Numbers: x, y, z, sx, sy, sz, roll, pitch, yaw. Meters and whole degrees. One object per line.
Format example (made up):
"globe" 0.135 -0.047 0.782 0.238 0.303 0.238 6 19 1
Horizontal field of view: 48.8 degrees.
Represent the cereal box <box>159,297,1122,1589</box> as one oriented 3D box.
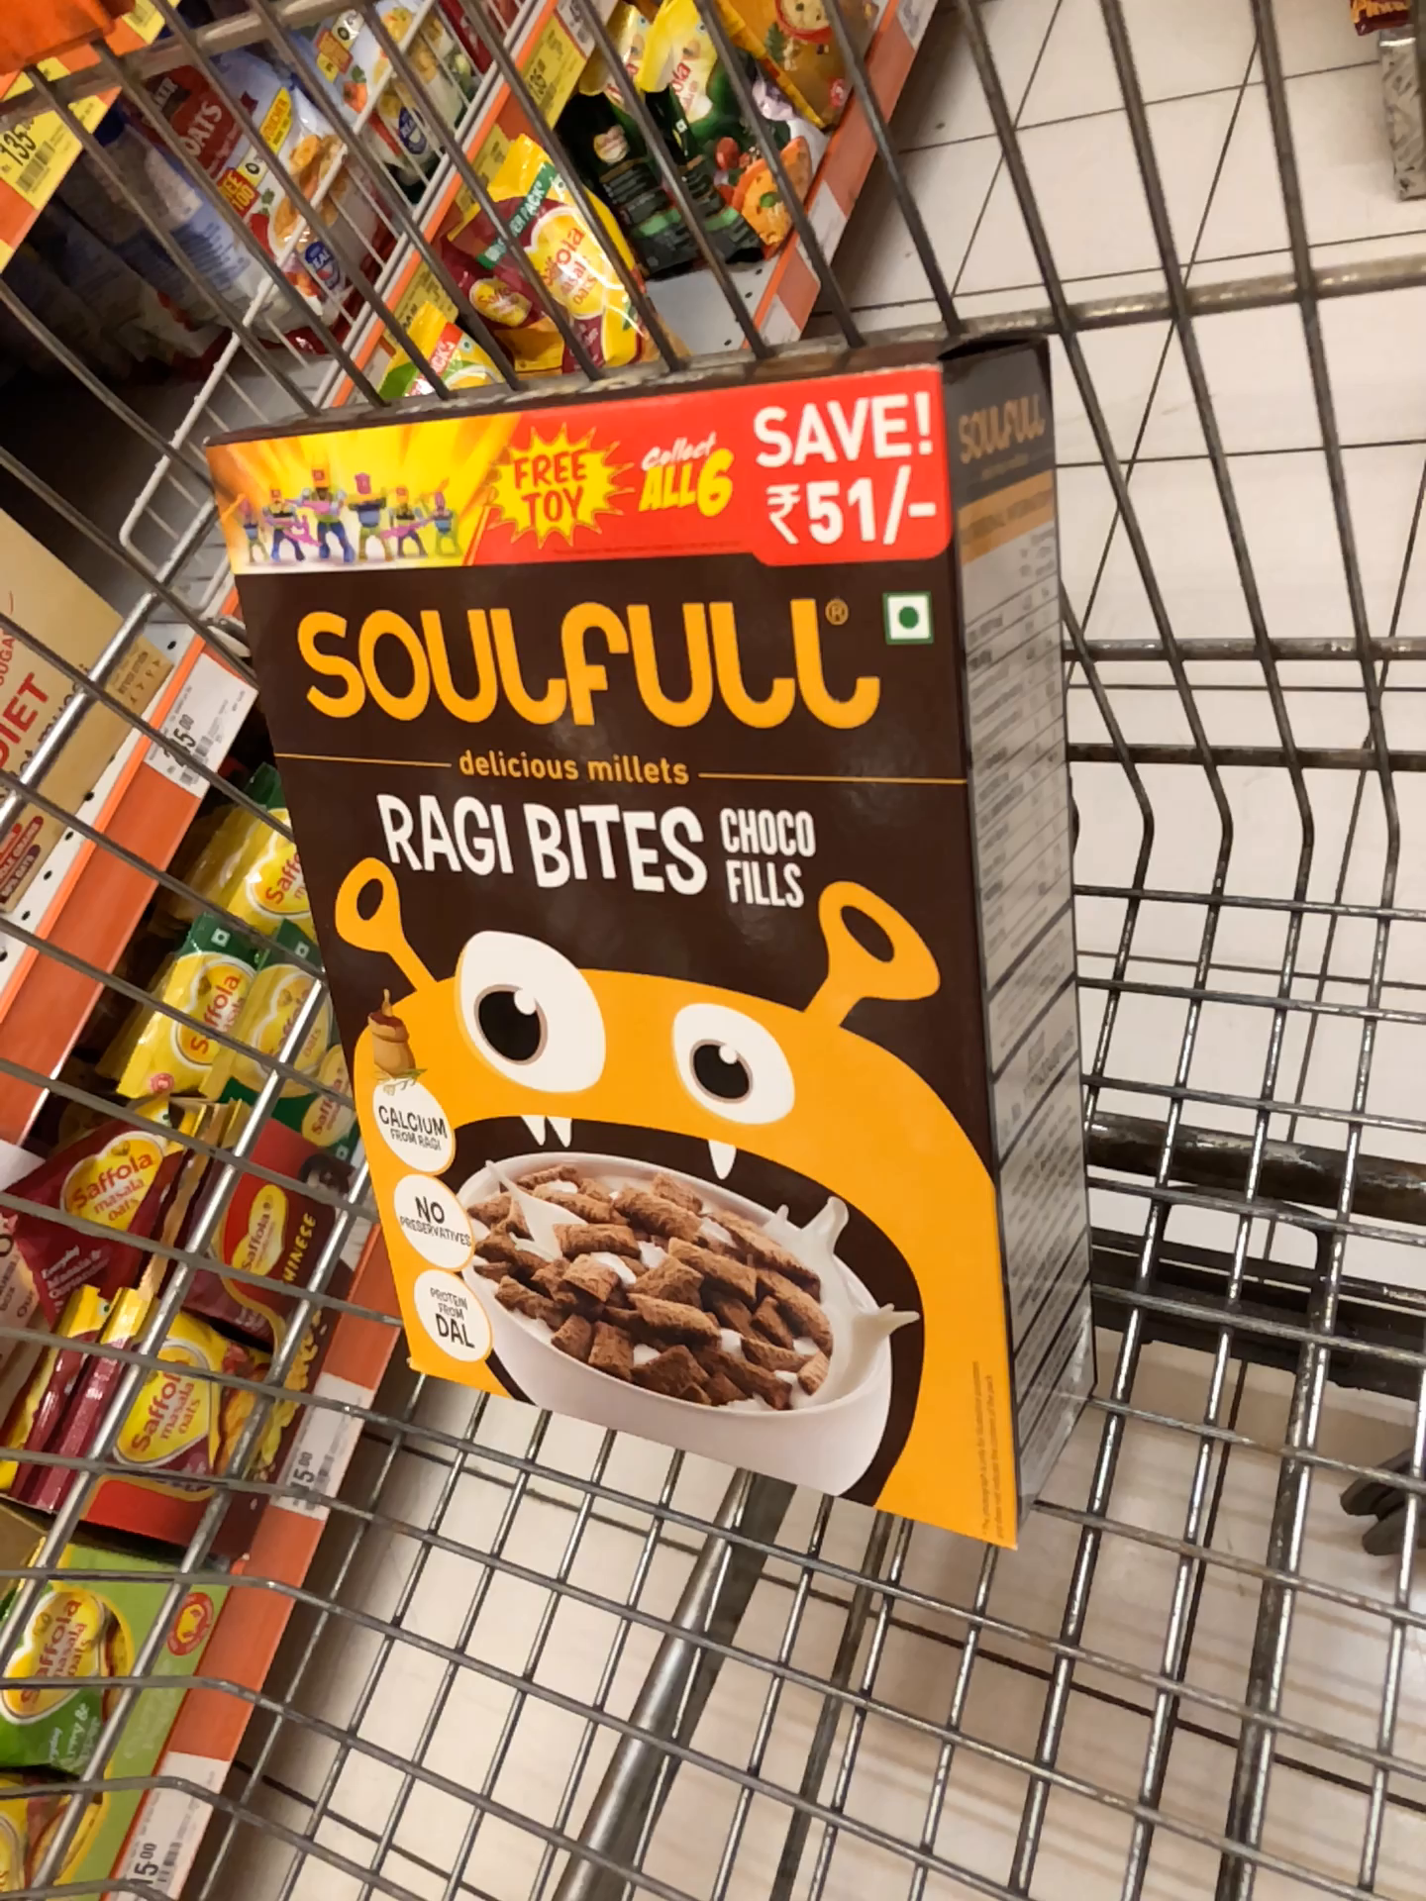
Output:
"cereal box" -0.011 -0.003 0.375 0.191 0.259 0.070 7 25 32
